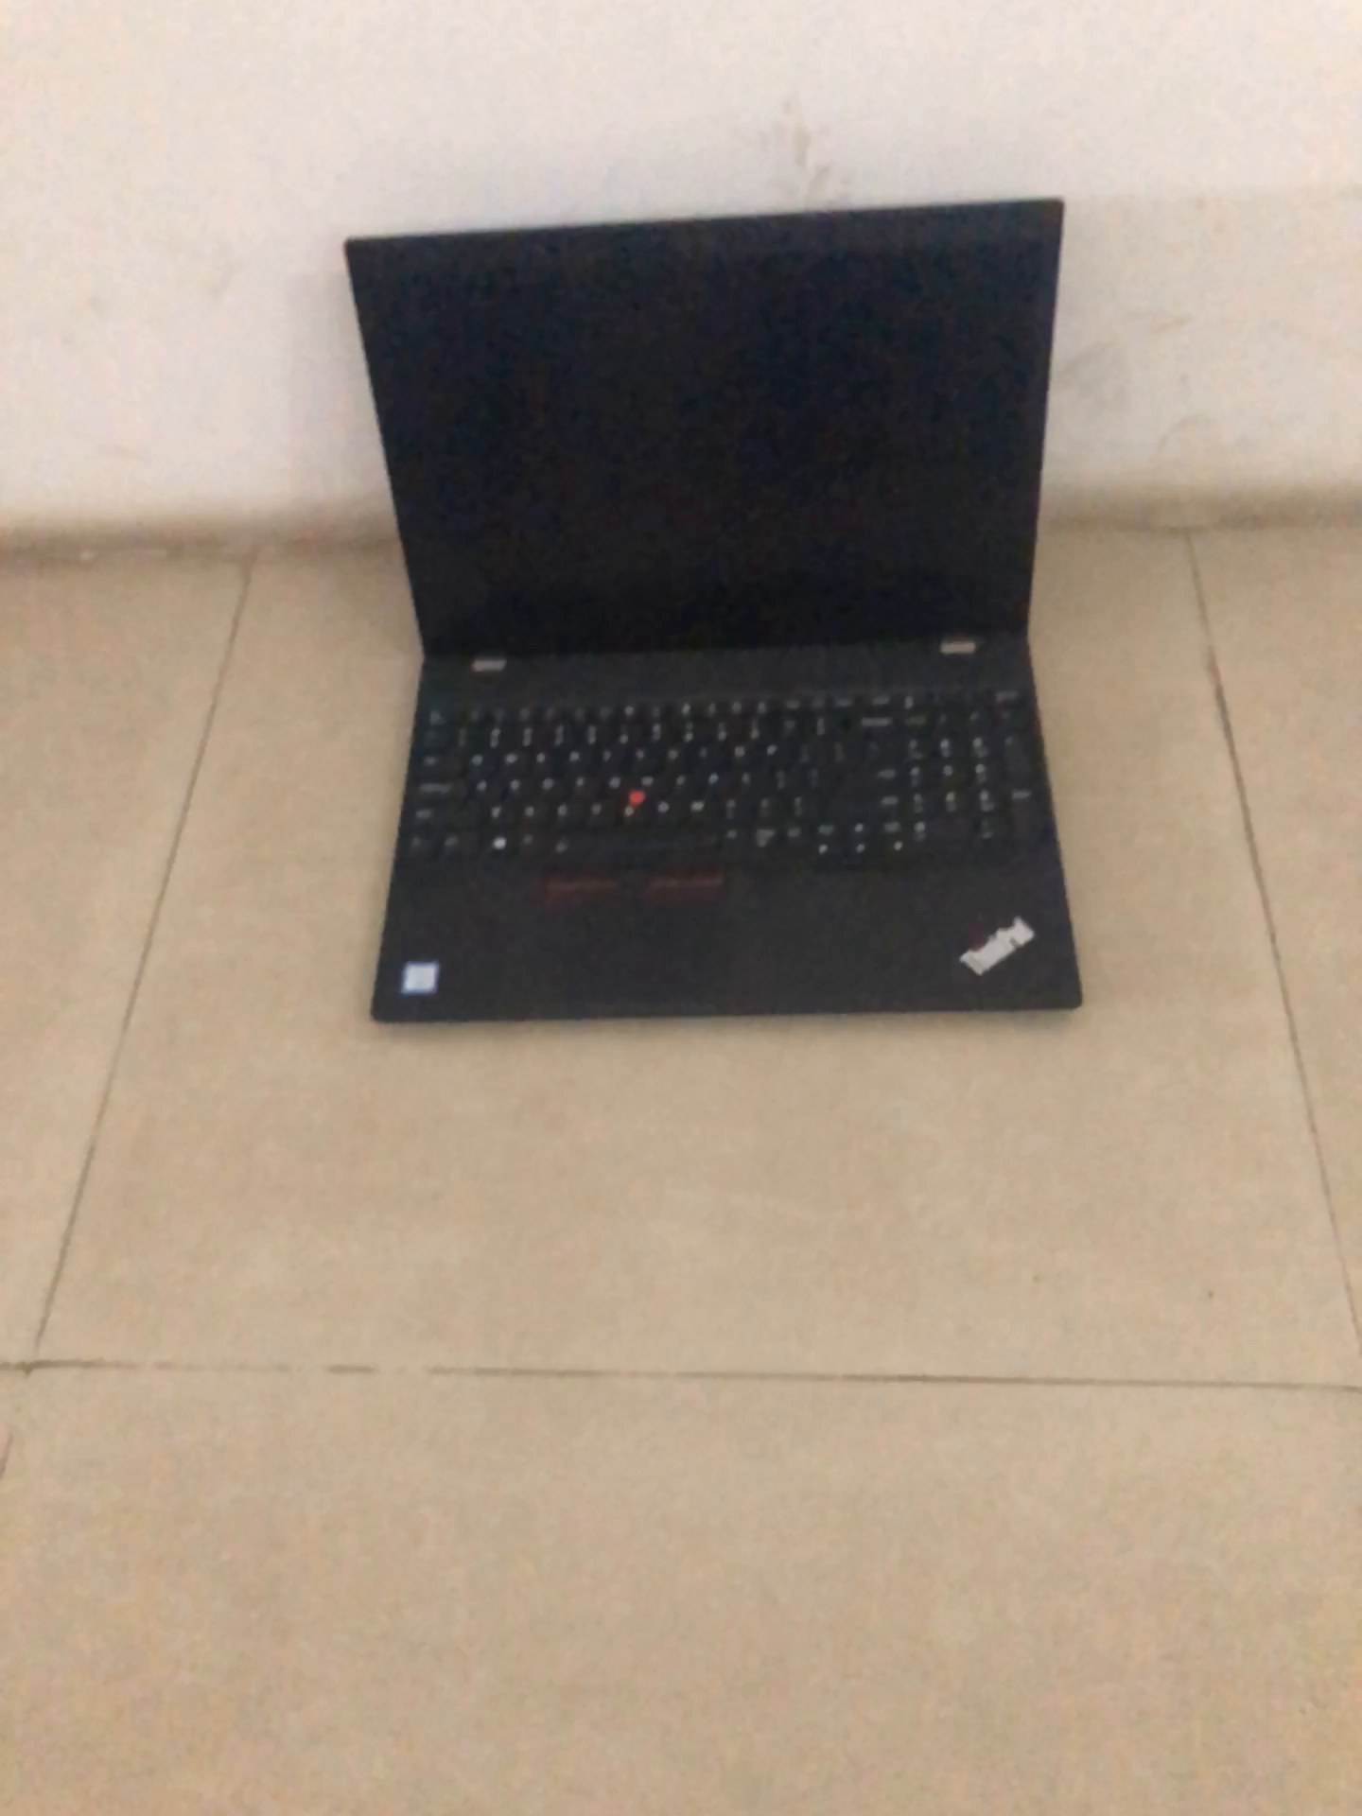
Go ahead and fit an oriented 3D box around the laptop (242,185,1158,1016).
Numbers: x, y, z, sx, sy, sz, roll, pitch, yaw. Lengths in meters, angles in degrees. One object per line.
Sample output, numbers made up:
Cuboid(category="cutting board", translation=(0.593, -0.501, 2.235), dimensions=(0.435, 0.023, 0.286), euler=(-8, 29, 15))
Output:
Cuboid(category="laptop", translation=(0.013, -0.149, 0.752), dimensions=(0.351, 0.215, 0.329), euler=(-2, 58, 4))
